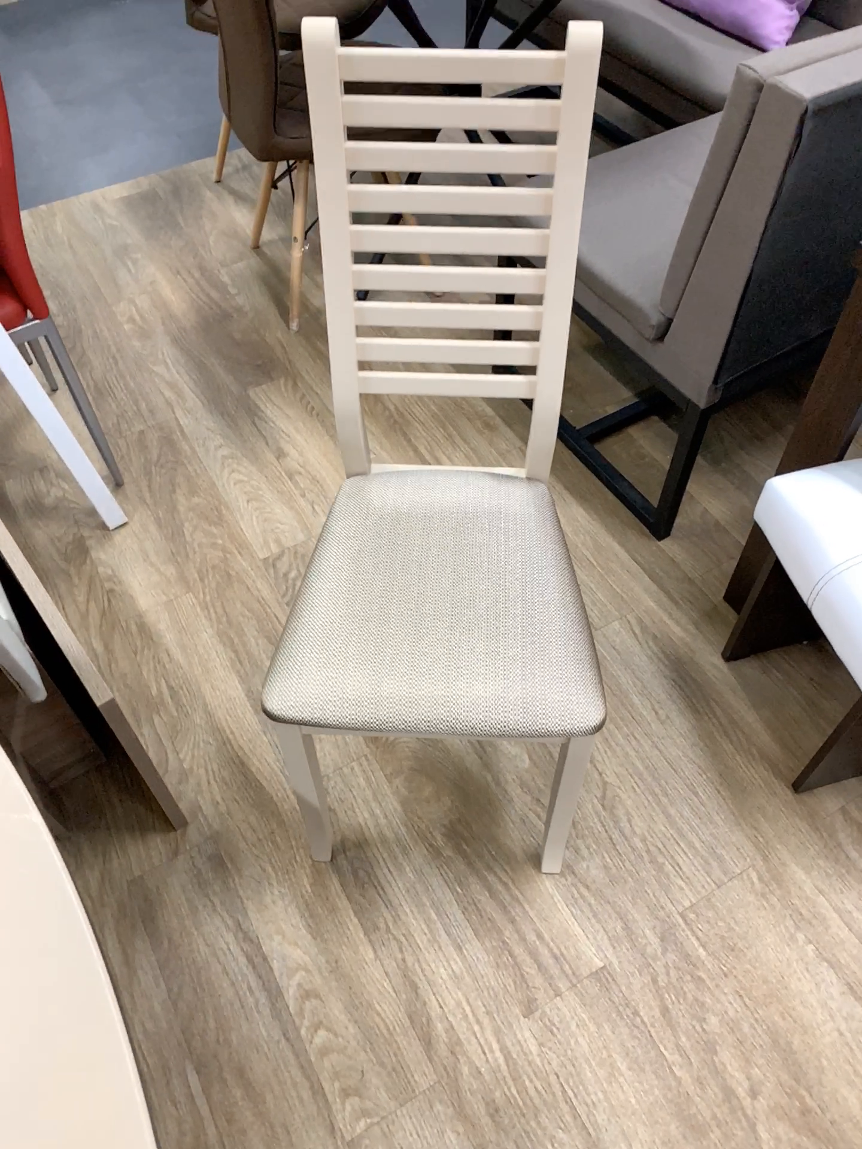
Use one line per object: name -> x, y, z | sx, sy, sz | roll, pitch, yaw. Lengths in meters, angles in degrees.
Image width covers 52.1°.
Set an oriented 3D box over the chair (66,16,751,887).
chair -> 0.003, -0.050, 1.124 | 0.440, 0.986, 0.552 | 2, 53, 2
